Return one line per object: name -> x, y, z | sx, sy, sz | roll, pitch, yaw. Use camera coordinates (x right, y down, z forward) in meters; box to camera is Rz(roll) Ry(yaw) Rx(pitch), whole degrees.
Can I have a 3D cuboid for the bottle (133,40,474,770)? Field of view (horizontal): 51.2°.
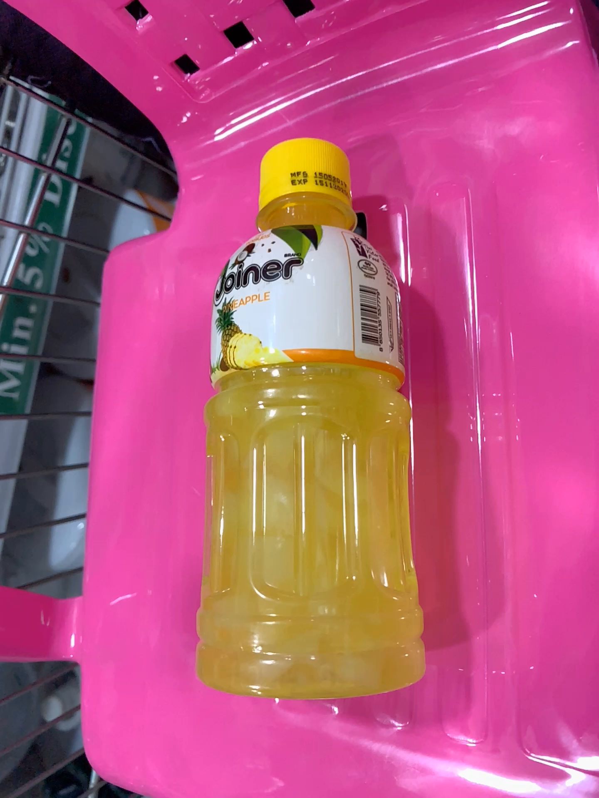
bottle -> -0.004, 0.001, 0.181 | 0.070, 0.060, 0.160 | -13, 76, 49
